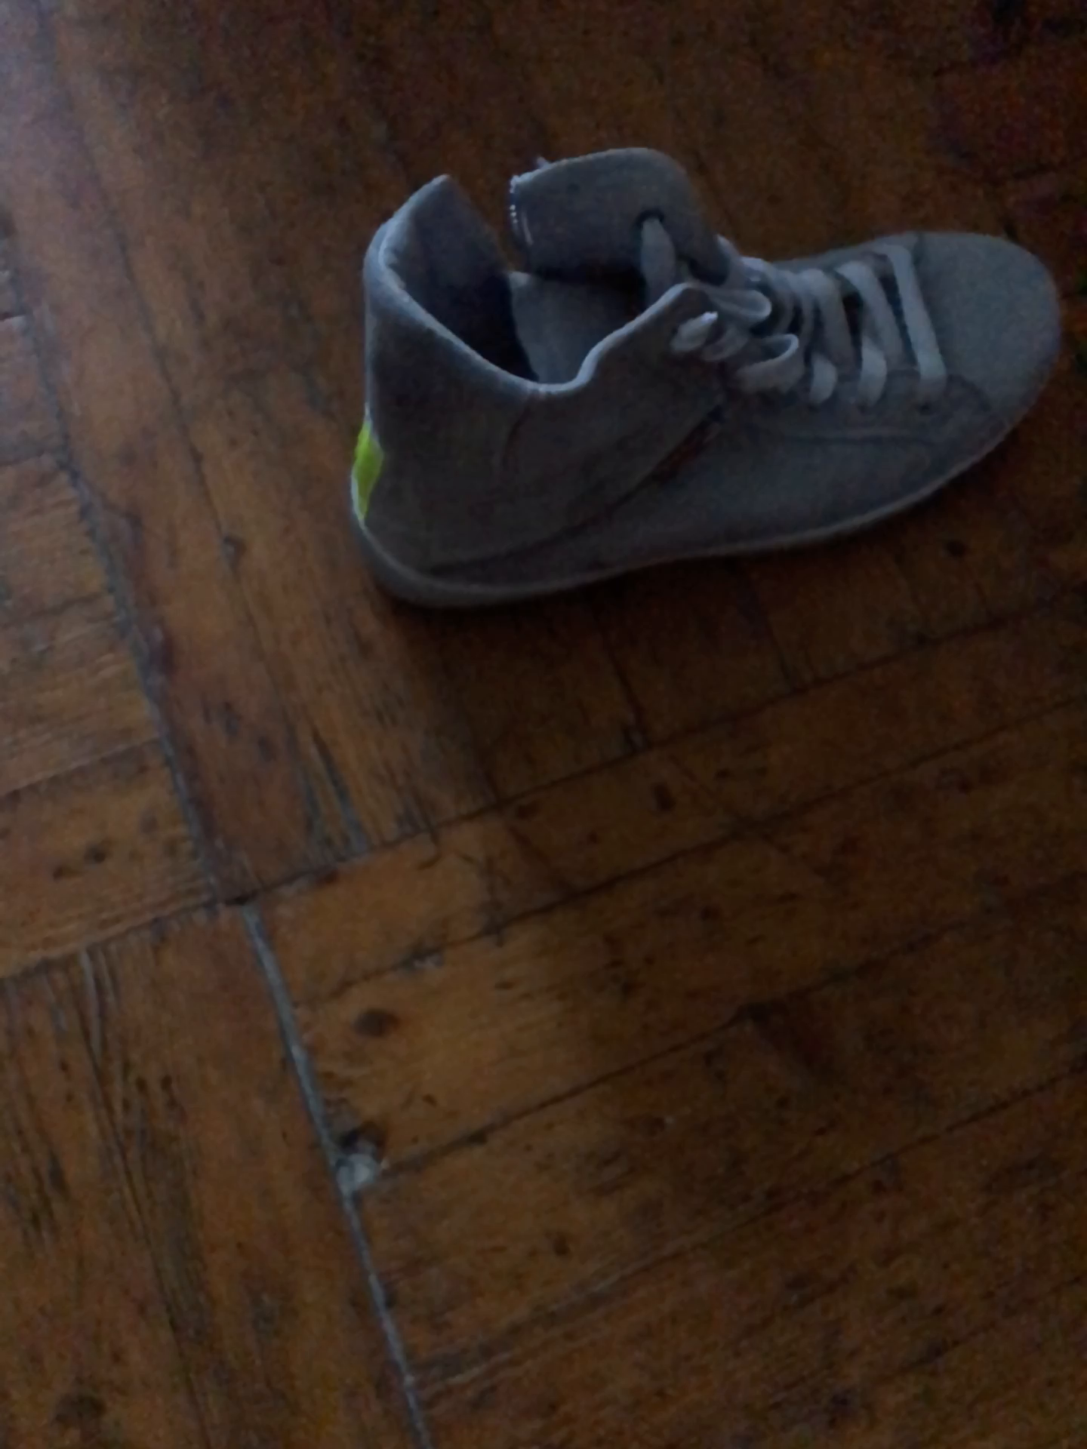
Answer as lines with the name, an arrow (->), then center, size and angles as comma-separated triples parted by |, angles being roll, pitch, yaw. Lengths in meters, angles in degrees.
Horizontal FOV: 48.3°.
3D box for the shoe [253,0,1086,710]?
shoe -> 0.079, -0.128, 0.432 | 0.310, 0.220, 0.130 | -16, 82, -10
